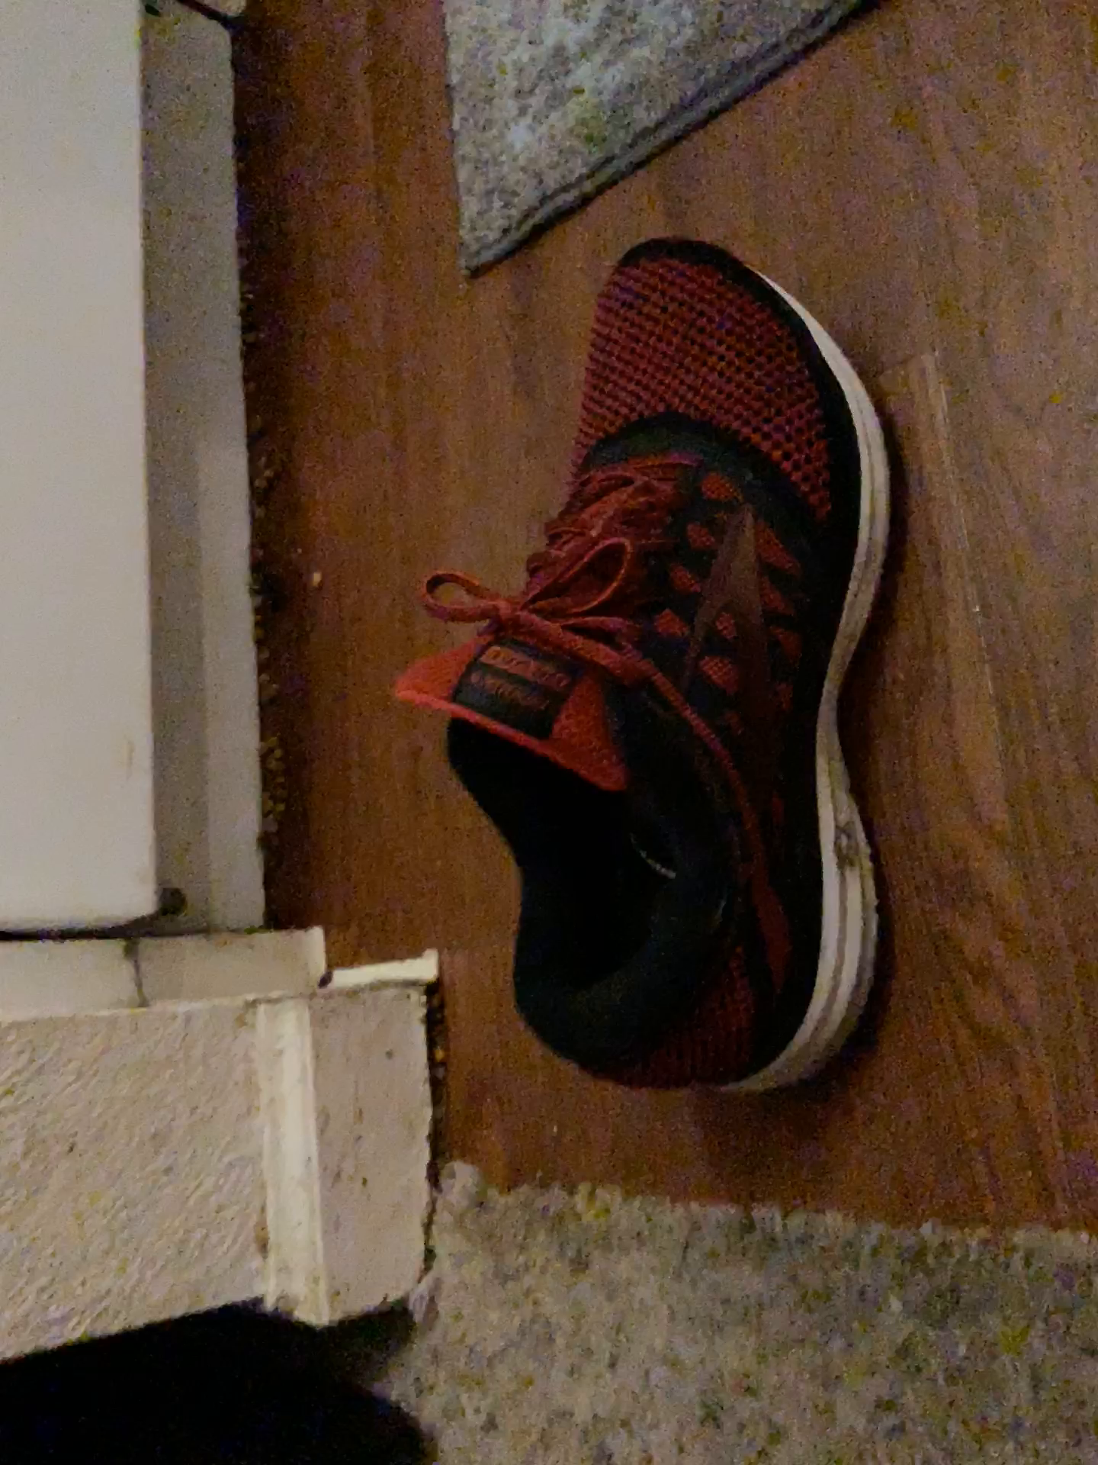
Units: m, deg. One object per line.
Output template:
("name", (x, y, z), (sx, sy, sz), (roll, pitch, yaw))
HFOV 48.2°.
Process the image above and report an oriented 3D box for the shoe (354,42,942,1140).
("shoe", (0.031, -0.033, 0.420), (0.130, 0.140, 0.300), (-9, 78, 43))
